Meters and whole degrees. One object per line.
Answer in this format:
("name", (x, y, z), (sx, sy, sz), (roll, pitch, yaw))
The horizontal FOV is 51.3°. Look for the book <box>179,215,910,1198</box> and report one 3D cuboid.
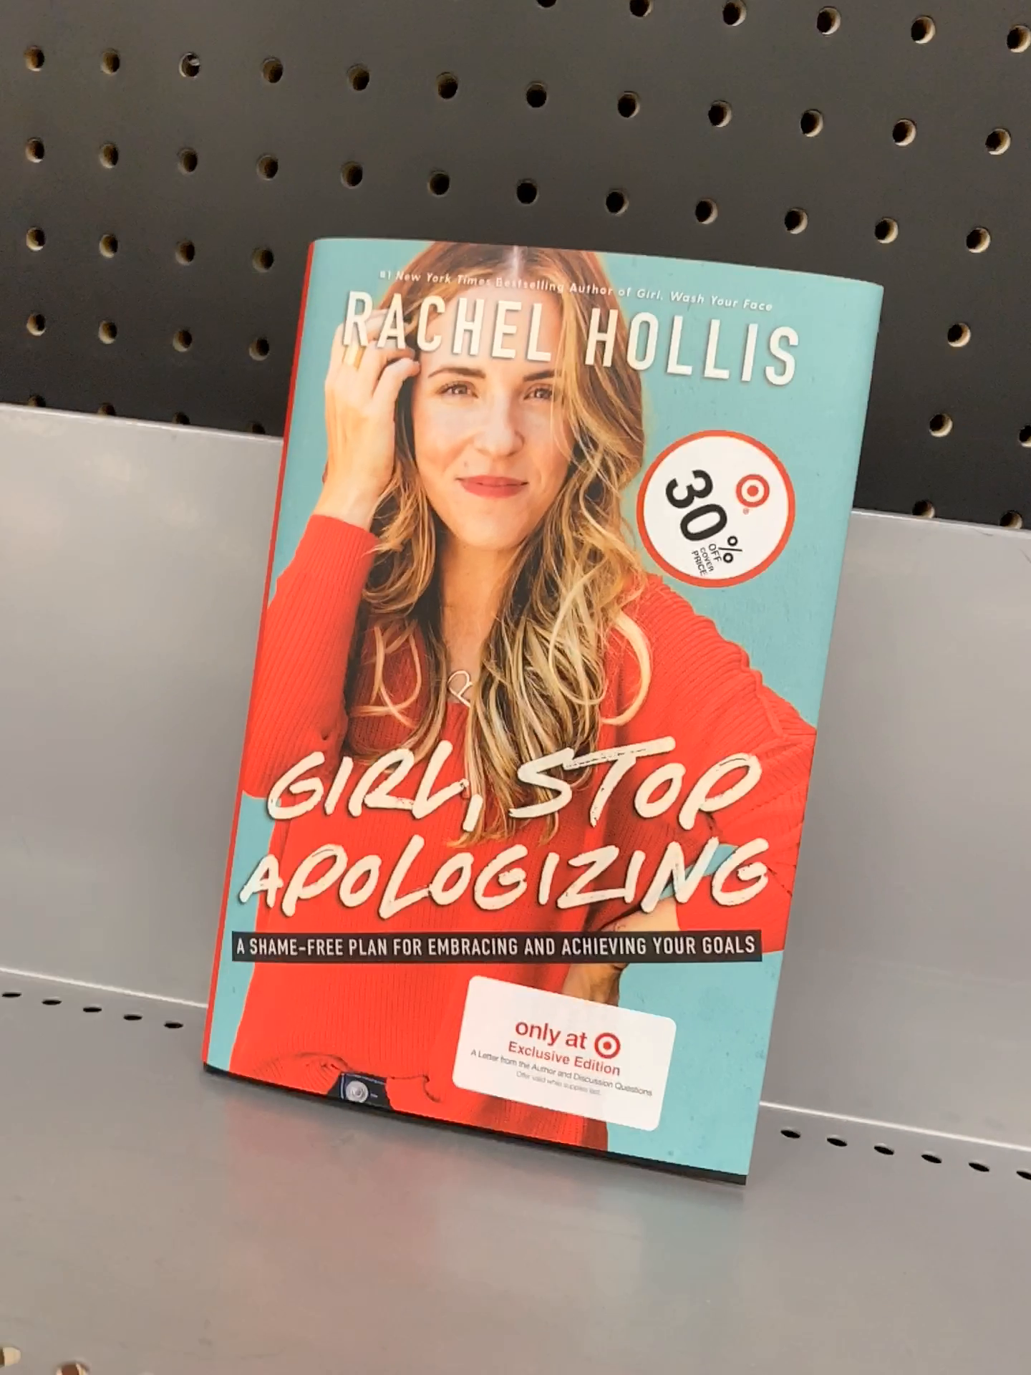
("book", (0.005, 0.000, 0.280), (0.149, 0.220, 0.035), (9, 1, 9))
